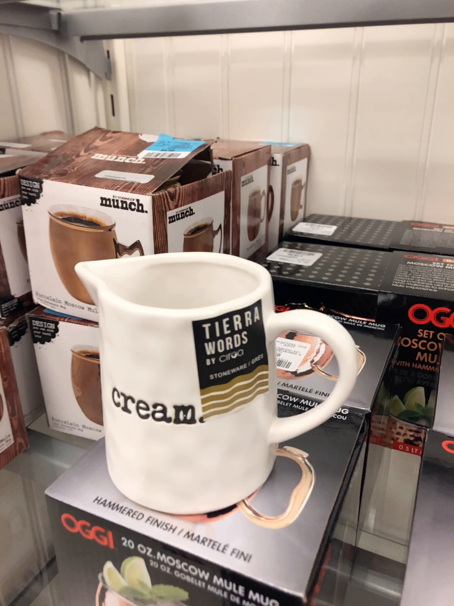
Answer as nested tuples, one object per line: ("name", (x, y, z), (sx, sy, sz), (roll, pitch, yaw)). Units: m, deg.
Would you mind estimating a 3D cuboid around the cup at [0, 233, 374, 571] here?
("cup", (-0.016, 0.026, 0.187), (0.125, 0.080, 0.063), (7, 25, 18))
